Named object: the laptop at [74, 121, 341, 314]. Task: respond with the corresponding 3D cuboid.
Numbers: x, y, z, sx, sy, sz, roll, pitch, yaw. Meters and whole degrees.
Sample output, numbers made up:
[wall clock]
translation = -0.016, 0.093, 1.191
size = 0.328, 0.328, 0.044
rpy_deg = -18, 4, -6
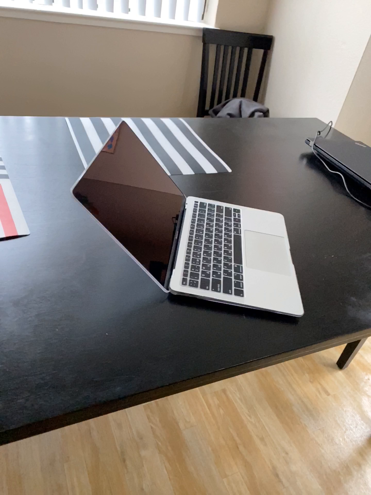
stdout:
[laptop]
translation = 0.034, -0.071, 0.661
size = 0.361, 0.139, 0.298
rpy_deg = 10, 37, -1
